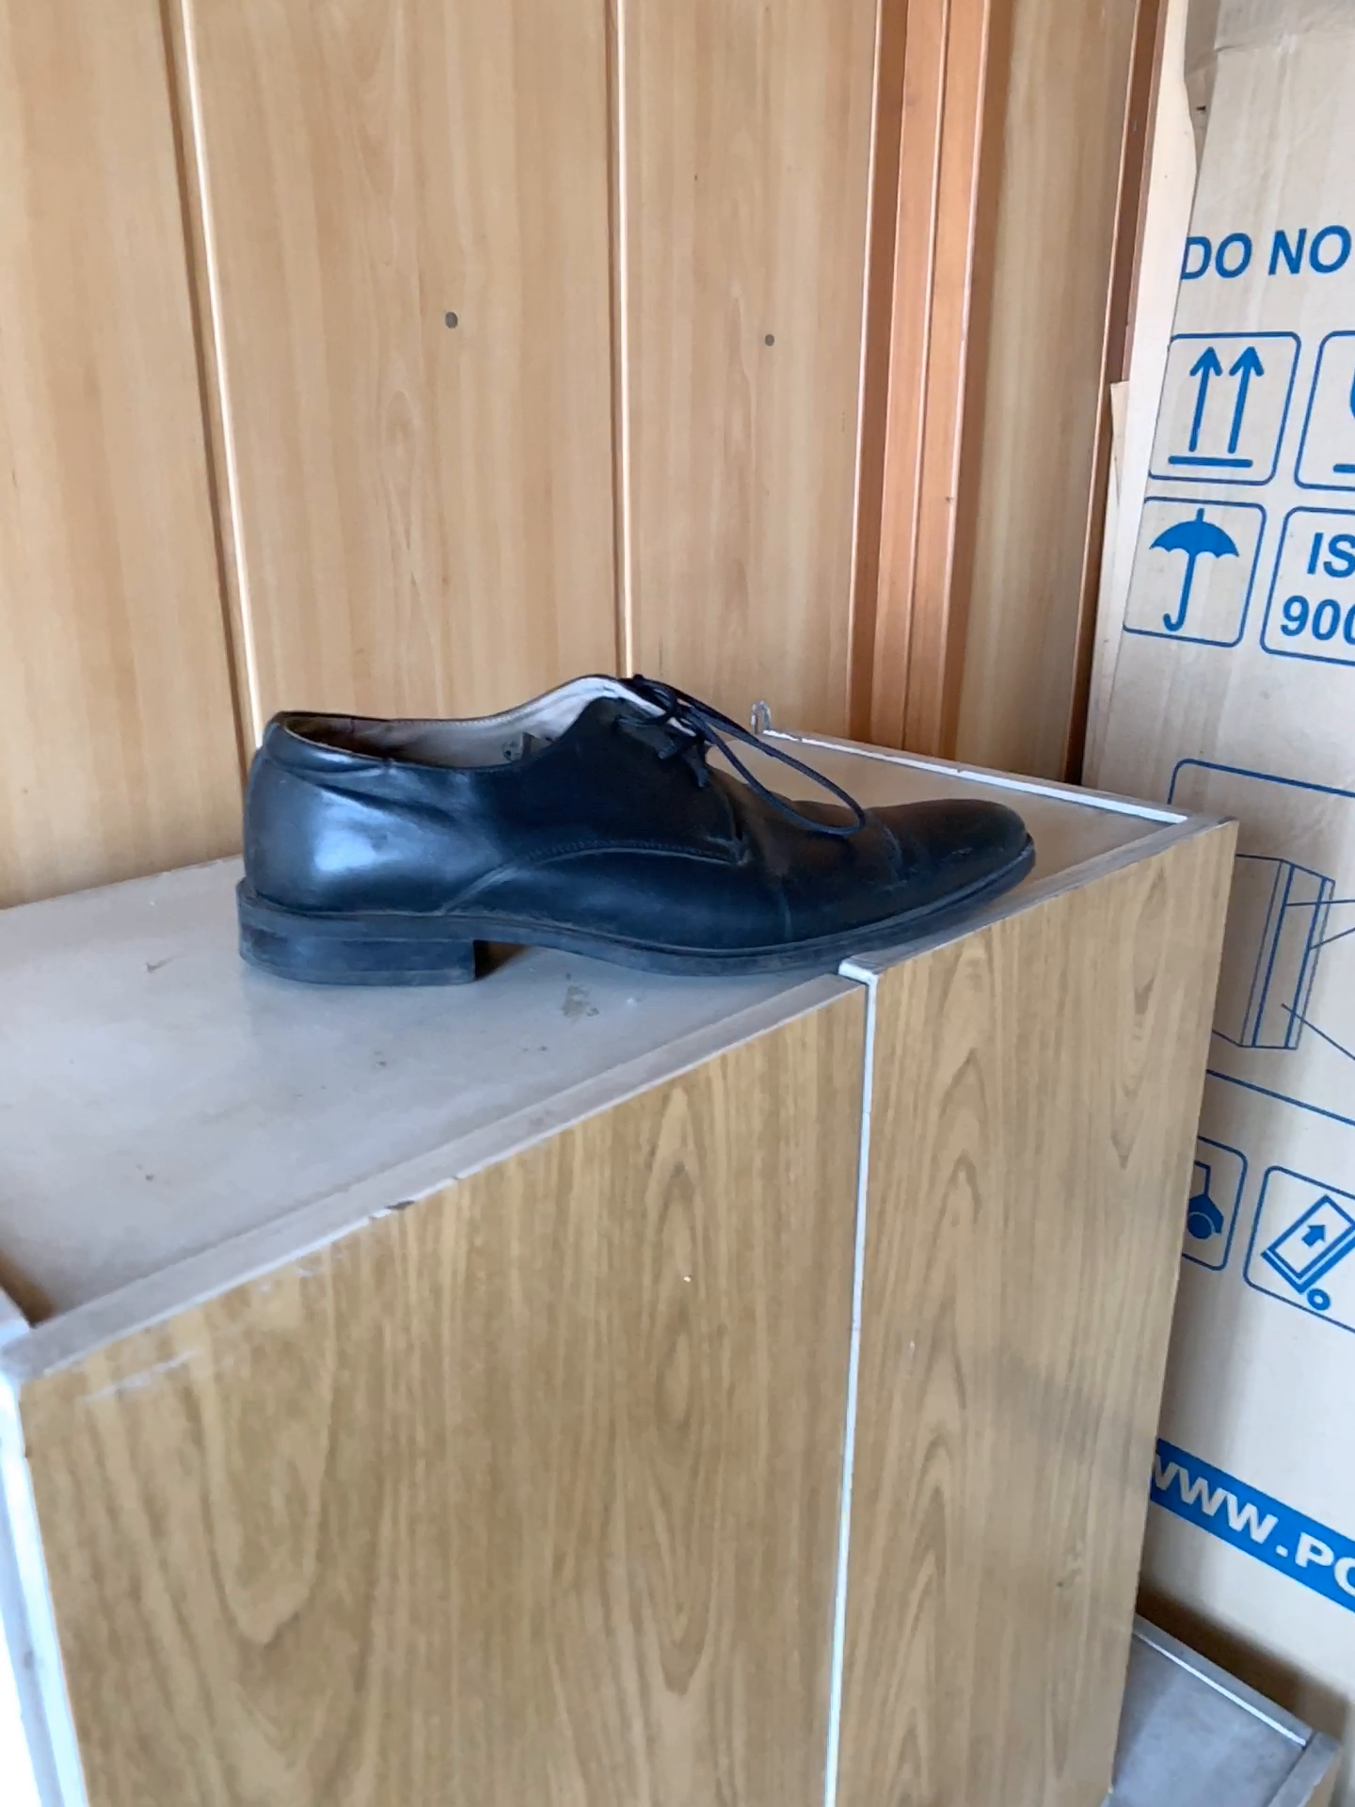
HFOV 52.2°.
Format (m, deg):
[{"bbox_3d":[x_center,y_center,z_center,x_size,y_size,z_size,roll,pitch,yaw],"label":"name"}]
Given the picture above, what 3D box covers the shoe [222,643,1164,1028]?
[{"bbox_3d":[0.000,-0.036,0.511,0.300,0.089,0.141,-3,20,-10],"label":"shoe"}]
